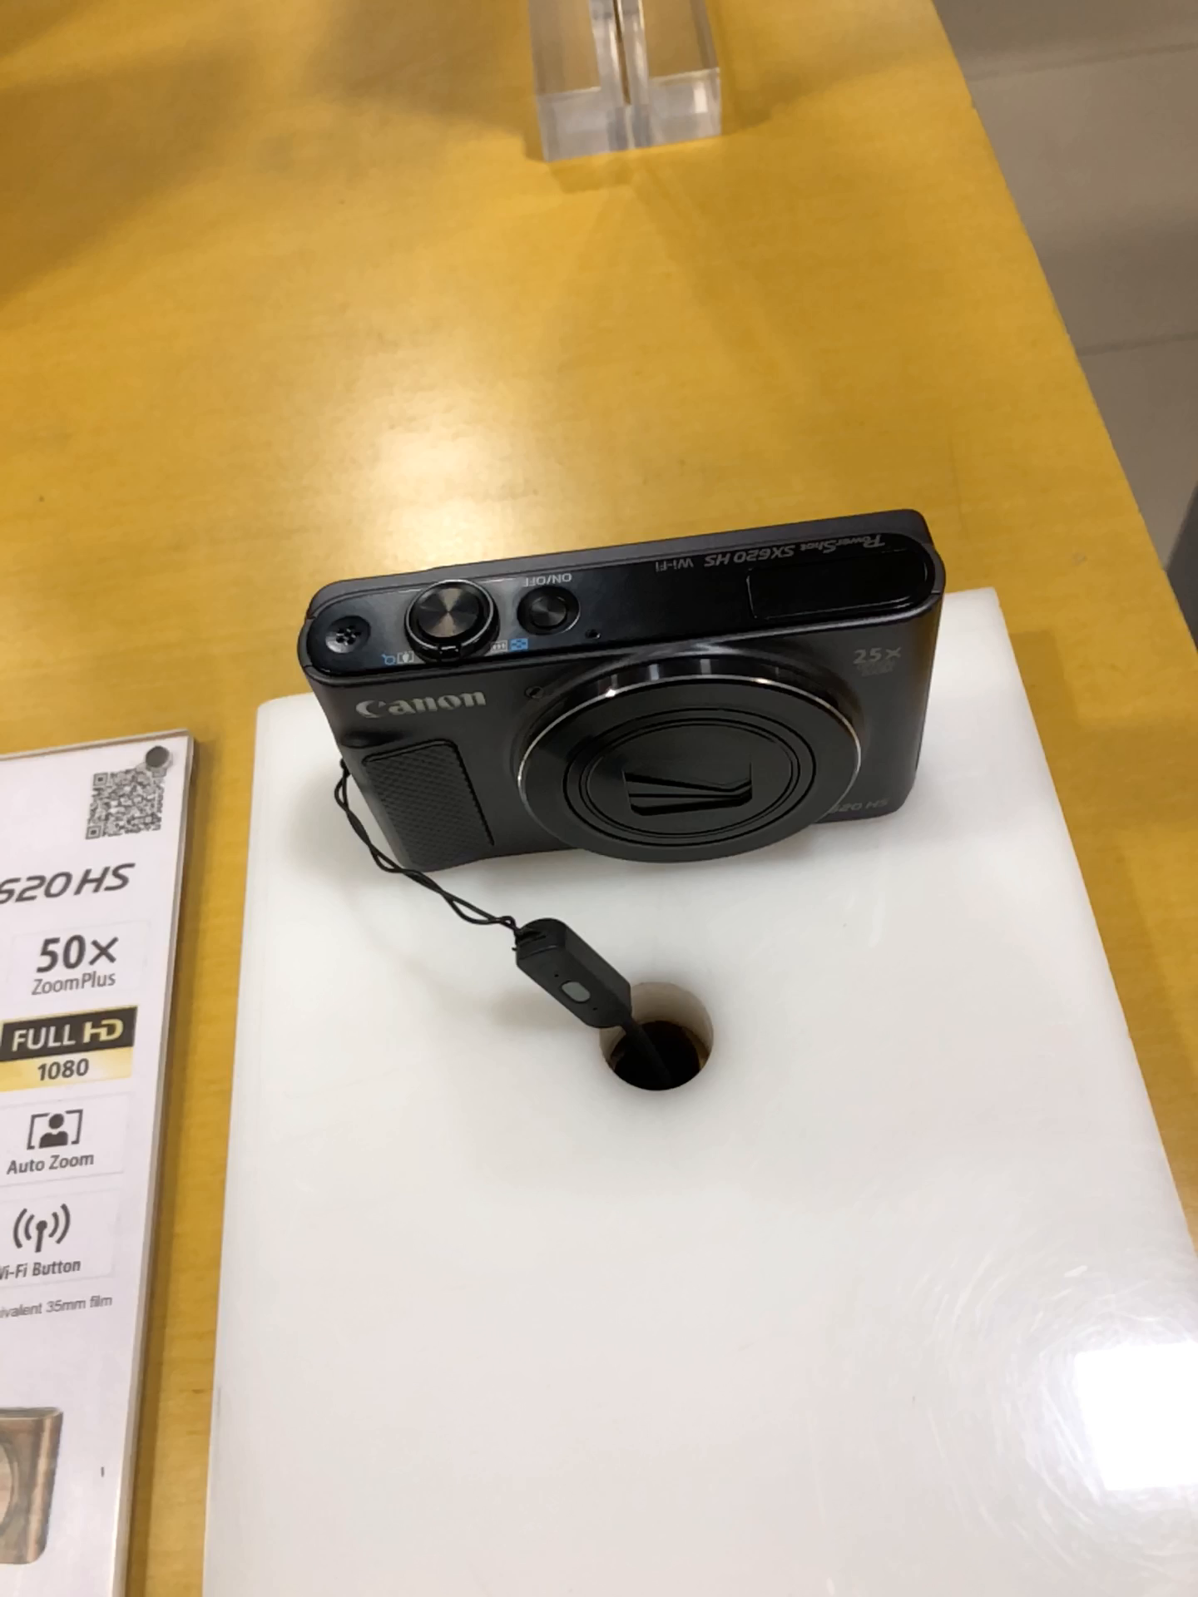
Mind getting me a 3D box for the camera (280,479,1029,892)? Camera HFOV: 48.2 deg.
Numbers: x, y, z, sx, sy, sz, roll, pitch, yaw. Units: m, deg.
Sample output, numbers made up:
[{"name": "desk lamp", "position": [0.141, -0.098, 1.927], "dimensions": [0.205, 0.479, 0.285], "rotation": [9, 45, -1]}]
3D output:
[{"name": "camera", "position": [0.009, -0.016, 0.229], "dimensions": [0.110, 0.060, 0.030], "rotation": [-6, 59, 4]}]
